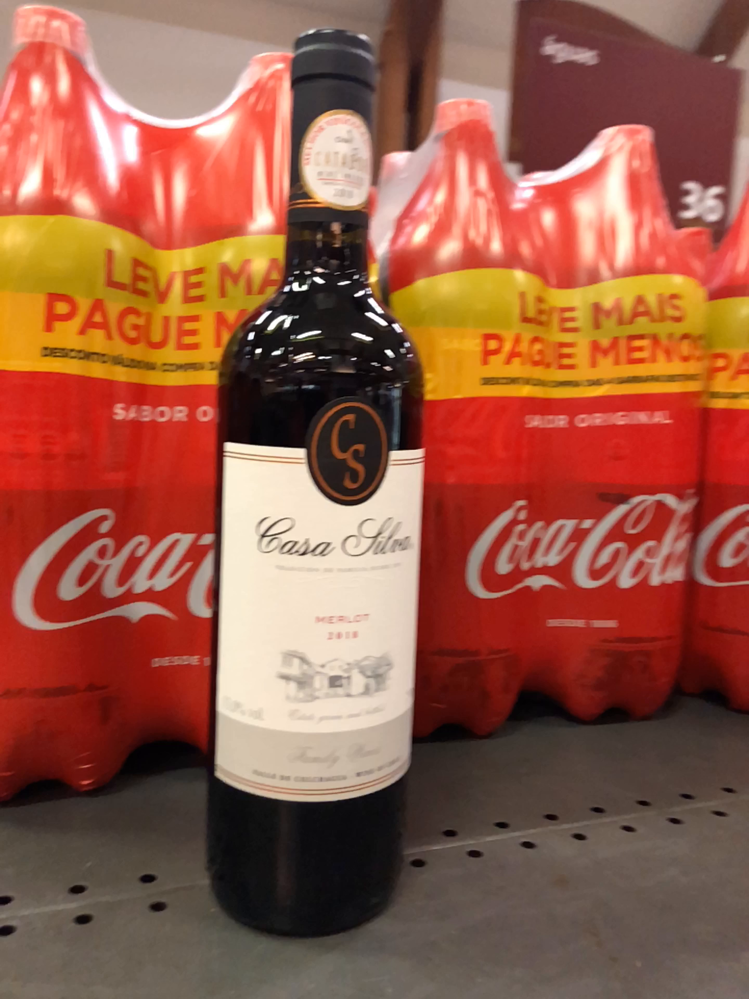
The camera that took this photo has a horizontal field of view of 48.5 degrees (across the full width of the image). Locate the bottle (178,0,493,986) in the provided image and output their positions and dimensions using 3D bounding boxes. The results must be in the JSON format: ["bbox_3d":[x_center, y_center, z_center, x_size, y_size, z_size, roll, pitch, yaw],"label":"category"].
[{"bbox_3d":[-0.020,-0.004,0.294,0.080,0.309,0.070,1,7,-21],"label":"bottle"}]
